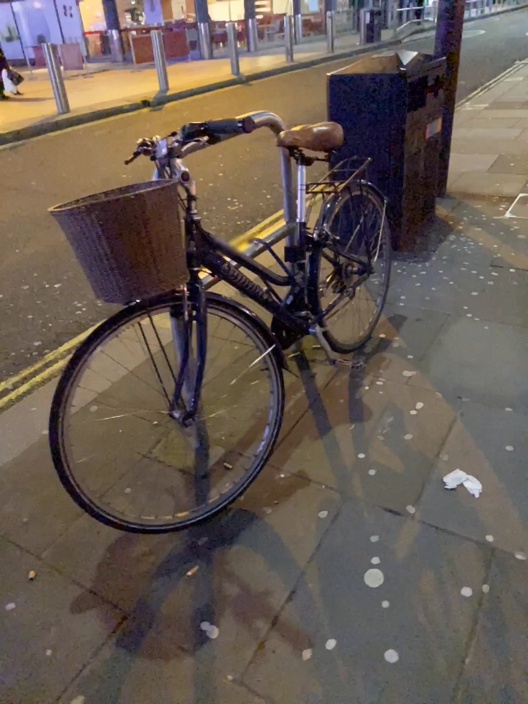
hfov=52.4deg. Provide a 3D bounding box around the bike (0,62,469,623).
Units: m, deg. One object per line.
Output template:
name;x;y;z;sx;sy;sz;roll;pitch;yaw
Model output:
bike;-0.014;-0.253;1.840;0.661;1.063;1.716;19;41;34
